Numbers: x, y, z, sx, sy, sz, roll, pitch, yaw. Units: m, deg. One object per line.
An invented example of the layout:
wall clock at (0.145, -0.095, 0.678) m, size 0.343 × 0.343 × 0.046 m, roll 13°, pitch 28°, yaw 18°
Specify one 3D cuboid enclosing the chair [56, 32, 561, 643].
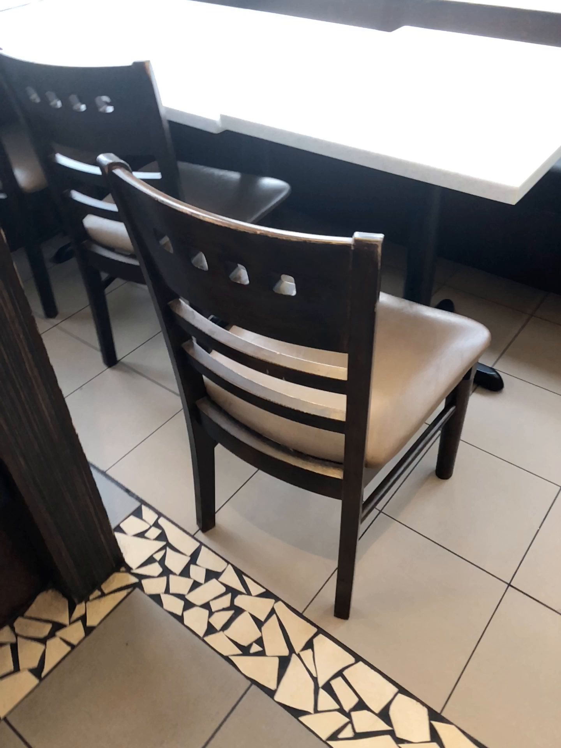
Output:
chair at (0.105, -0.076, 1.030) m, size 0.472 × 0.715 × 0.572 m, roll 27°, pitch 51°, yaw 28°
